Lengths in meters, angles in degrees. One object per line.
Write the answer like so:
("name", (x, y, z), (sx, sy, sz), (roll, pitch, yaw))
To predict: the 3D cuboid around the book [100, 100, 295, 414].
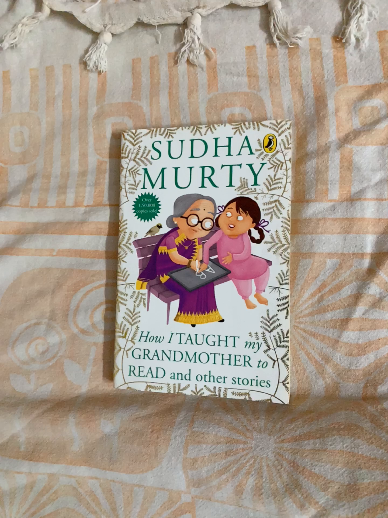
("book", (0.003, -0.004, 0.281), (0.130, 0.020, 0.200), (0, 84, 15))
